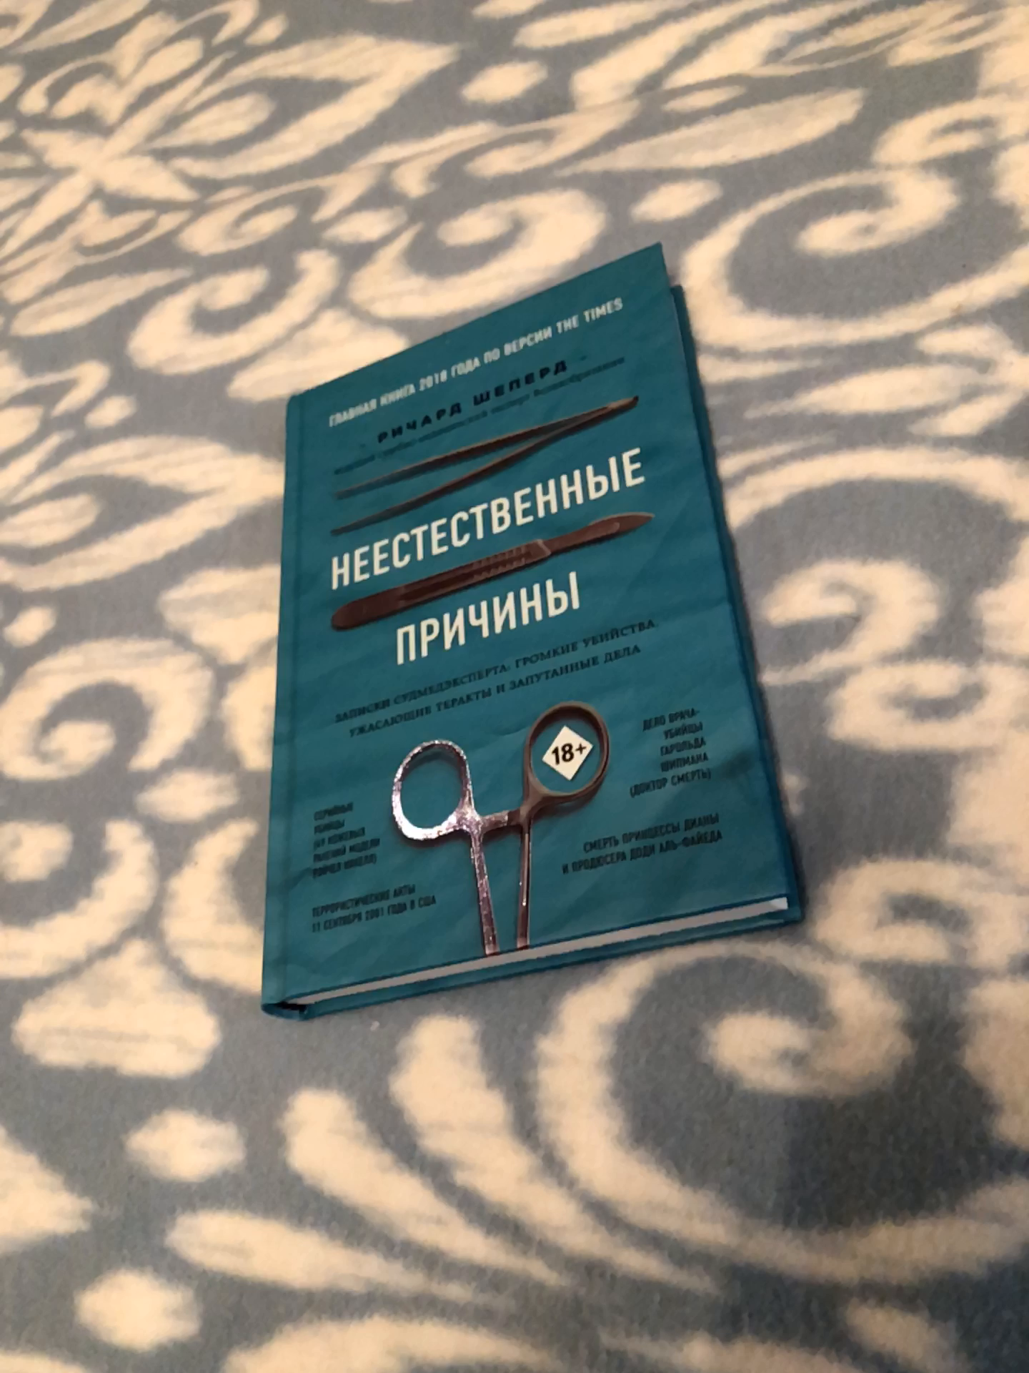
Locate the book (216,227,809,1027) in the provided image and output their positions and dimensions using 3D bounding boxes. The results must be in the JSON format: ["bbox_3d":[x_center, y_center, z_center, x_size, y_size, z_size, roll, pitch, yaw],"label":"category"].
[{"bbox_3d":[-0.012,-0.025,0.336,0.149,0.025,0.218,-16,58,19],"label":"book"}]
